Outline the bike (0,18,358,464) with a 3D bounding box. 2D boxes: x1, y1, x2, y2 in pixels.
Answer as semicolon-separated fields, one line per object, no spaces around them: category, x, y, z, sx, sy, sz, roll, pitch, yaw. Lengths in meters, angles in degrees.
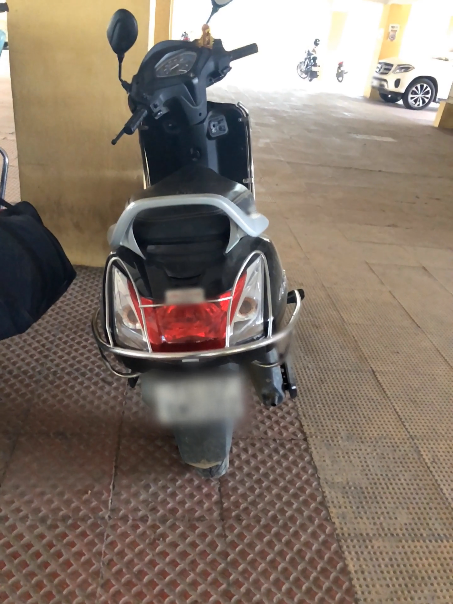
bike;-0.277;-0.421;1.693;0.621;0.882;1.668;2;29;-11
